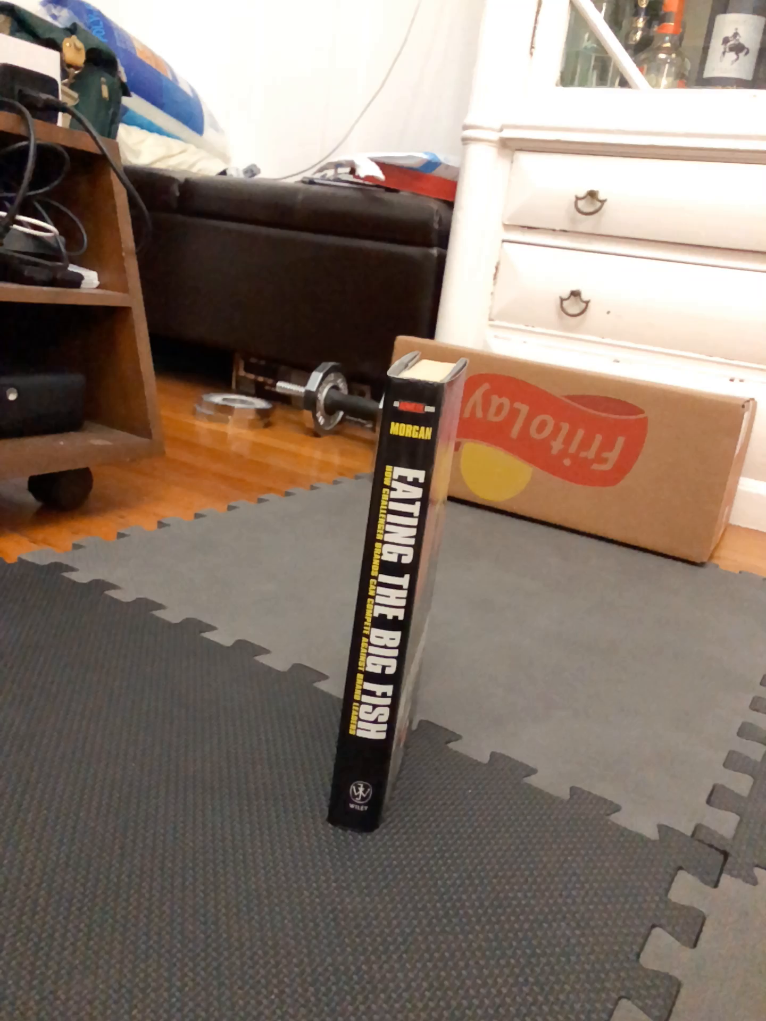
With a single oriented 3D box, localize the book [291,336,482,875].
[{"bbox_3d":[0.008,0.038,0.491,0.050,0.259,0.181,11,15,4],"label":"book"}]
